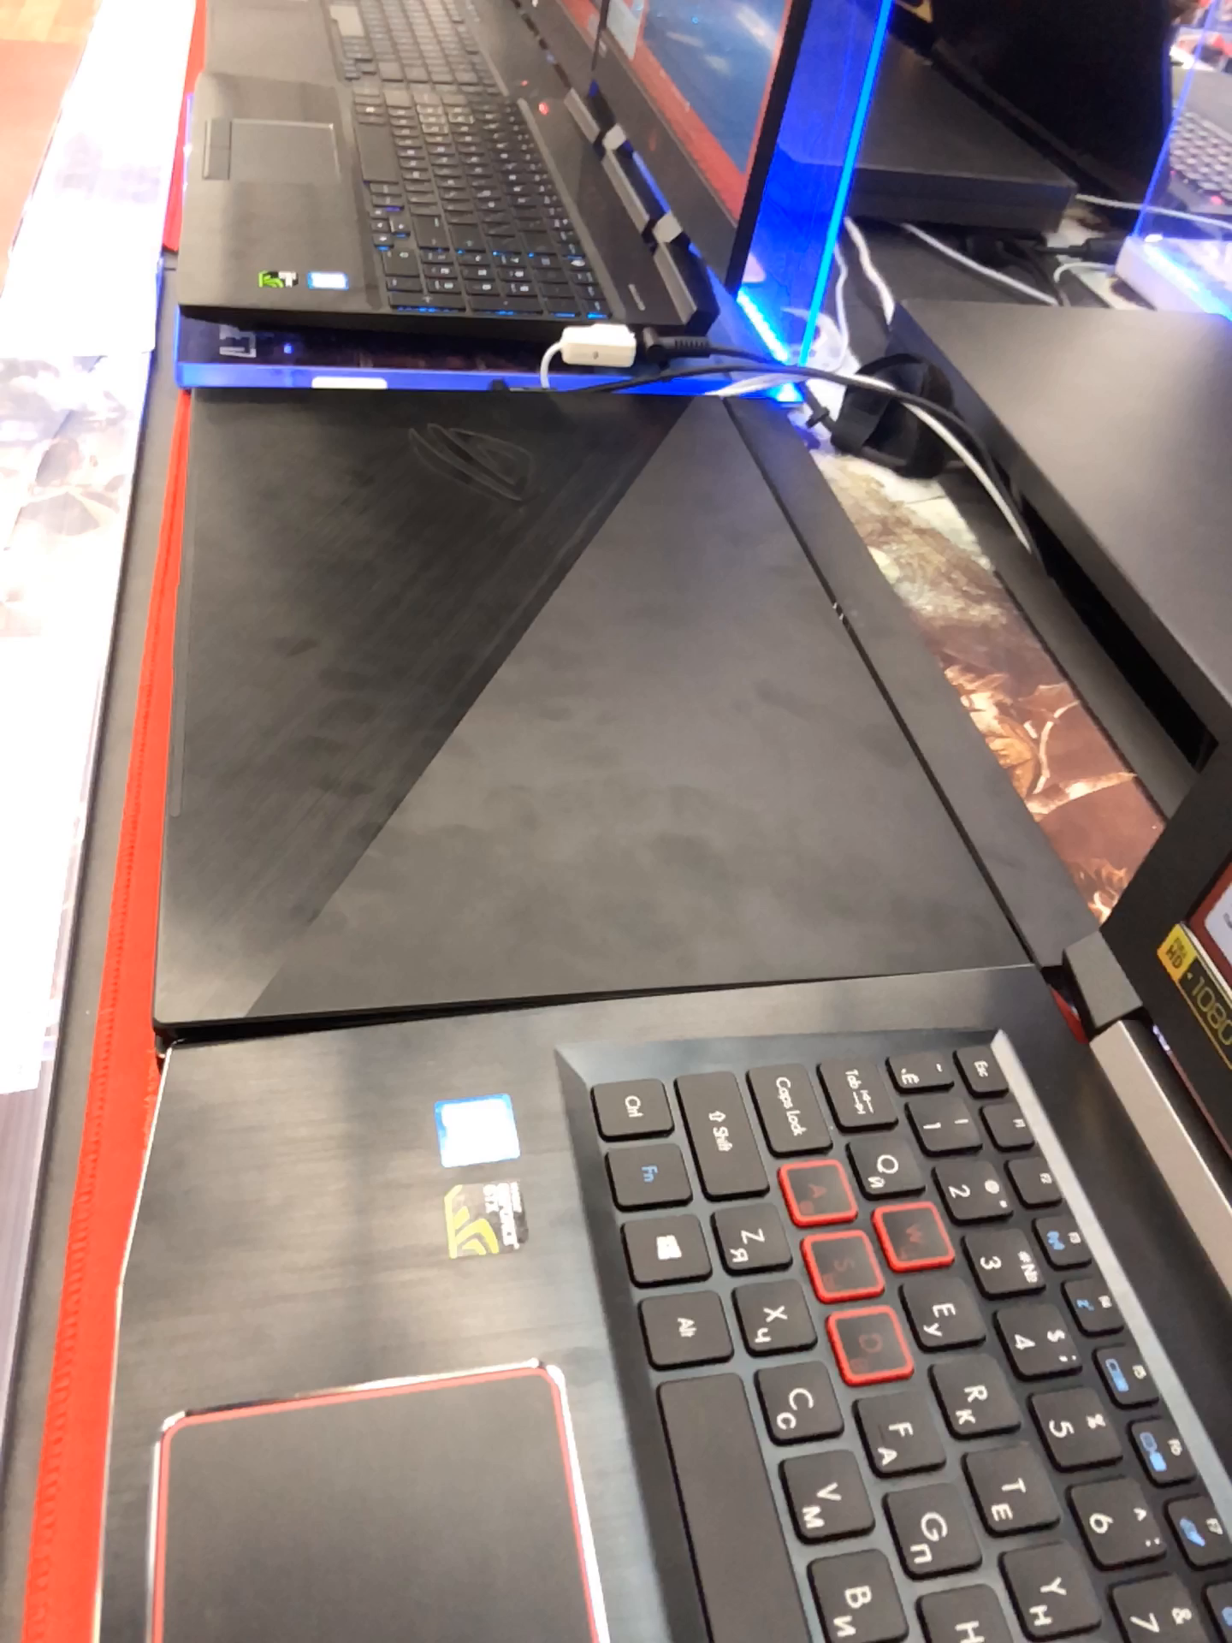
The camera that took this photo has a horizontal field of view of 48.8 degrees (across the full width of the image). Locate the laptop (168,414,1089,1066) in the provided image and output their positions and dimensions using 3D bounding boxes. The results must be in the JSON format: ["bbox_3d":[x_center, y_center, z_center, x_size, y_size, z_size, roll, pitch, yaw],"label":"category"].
[{"bbox_3d":[-0.020,-0.063,0.493,0.254,0.006,0.349,-3,43,-11],"label":"laptop"}]
